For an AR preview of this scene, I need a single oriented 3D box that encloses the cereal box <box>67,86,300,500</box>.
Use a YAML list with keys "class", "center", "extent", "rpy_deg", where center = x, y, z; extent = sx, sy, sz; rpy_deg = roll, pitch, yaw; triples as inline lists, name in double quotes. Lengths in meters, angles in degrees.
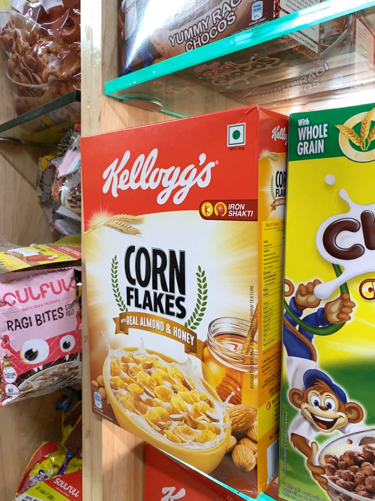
- class: "cereal box"
  center: [-0.010, 0.021, 0.304]
  extent: [0.170, 0.239, 0.070]
  rpy_deg: [5, 9, 41]
